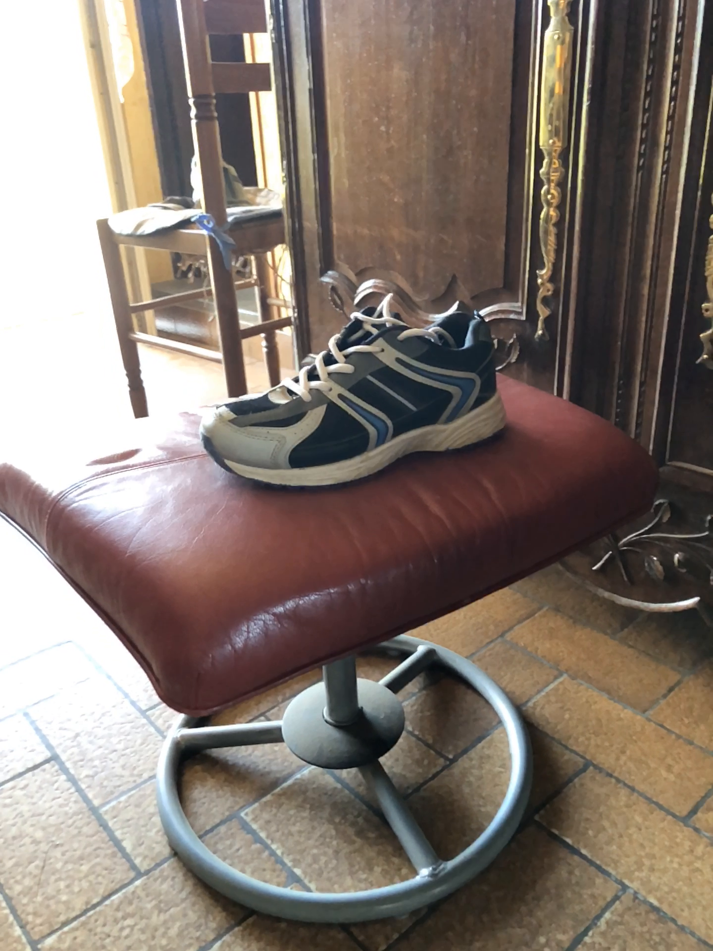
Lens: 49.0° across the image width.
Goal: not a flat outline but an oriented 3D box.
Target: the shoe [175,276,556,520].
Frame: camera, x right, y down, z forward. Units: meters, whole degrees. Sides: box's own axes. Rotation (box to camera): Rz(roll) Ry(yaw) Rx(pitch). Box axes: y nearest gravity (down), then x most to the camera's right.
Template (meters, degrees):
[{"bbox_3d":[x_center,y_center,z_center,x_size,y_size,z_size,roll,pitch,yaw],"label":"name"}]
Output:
[{"bbox_3d":[0.009,-0.070,0.603,0.261,0.119,0.110,-12,25,-19],"label":"shoe"}]
